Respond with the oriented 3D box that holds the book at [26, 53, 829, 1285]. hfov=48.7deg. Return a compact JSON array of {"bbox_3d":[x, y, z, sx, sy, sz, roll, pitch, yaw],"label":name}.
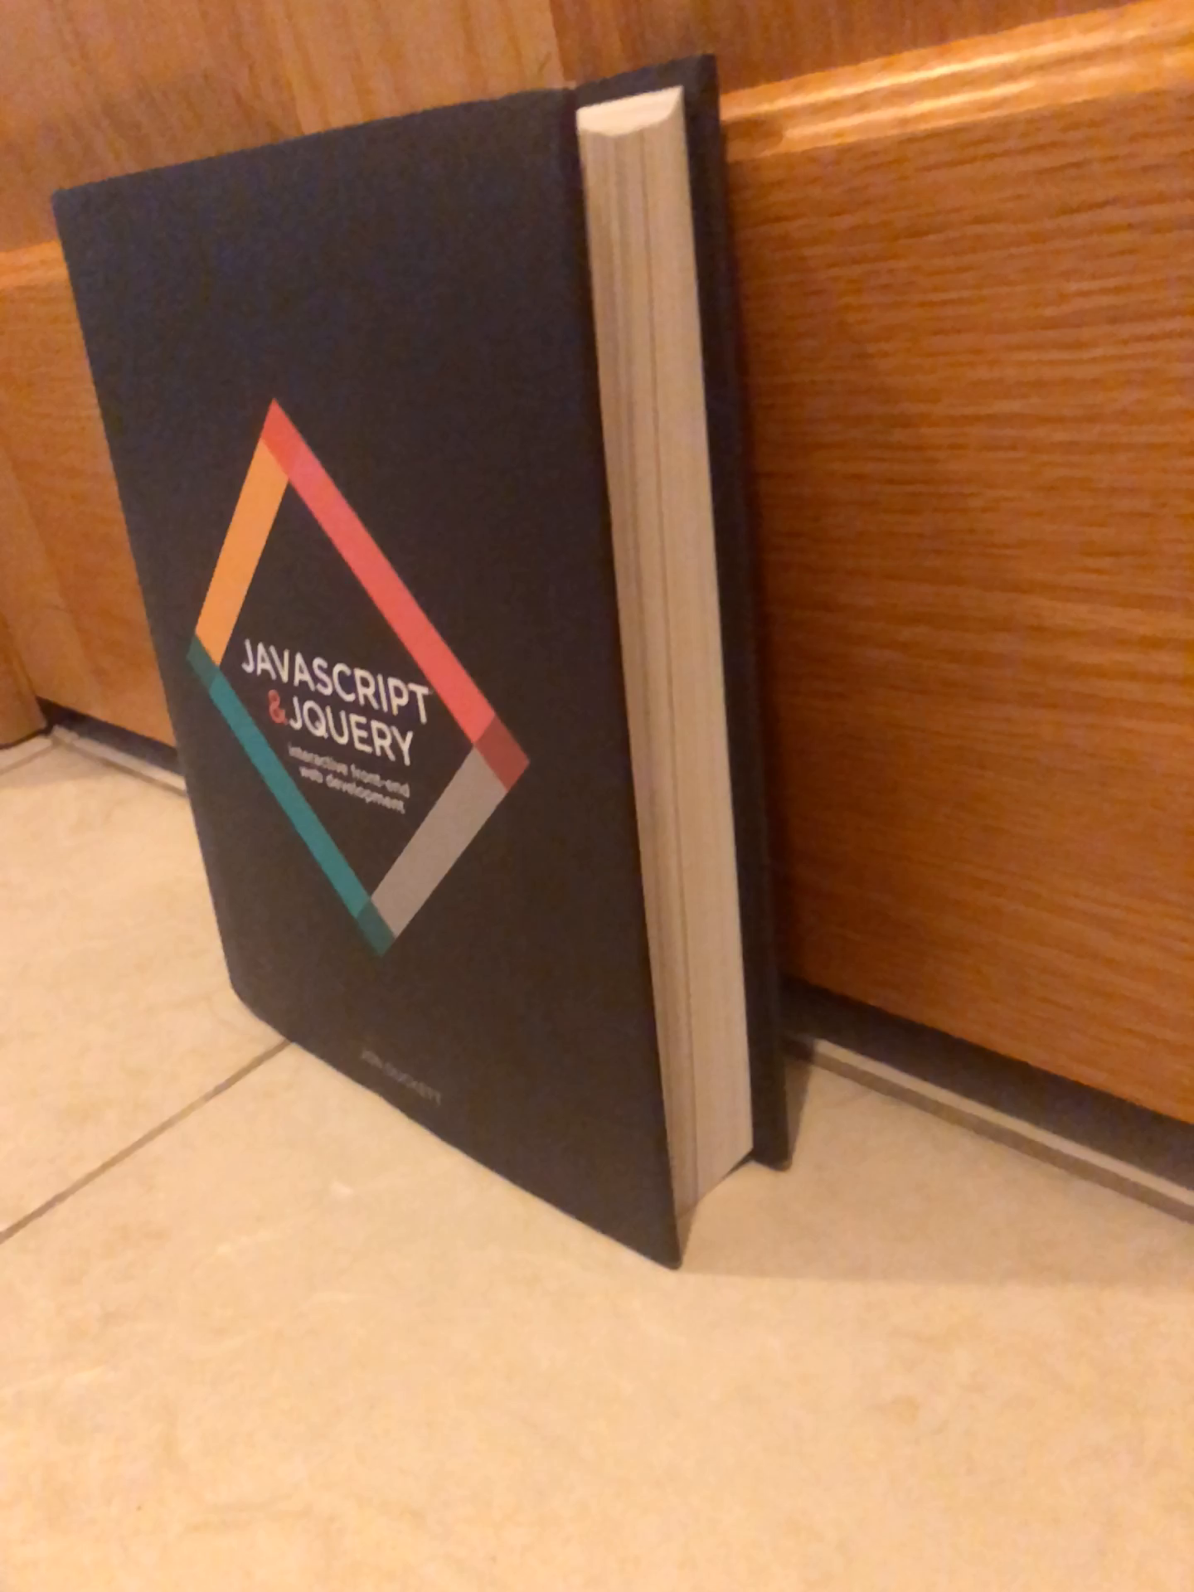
[{"bbox_3d":[-0.045,-0.034,0.333,0.060,0.237,0.200,-24,27,-39],"label":"book"}]
